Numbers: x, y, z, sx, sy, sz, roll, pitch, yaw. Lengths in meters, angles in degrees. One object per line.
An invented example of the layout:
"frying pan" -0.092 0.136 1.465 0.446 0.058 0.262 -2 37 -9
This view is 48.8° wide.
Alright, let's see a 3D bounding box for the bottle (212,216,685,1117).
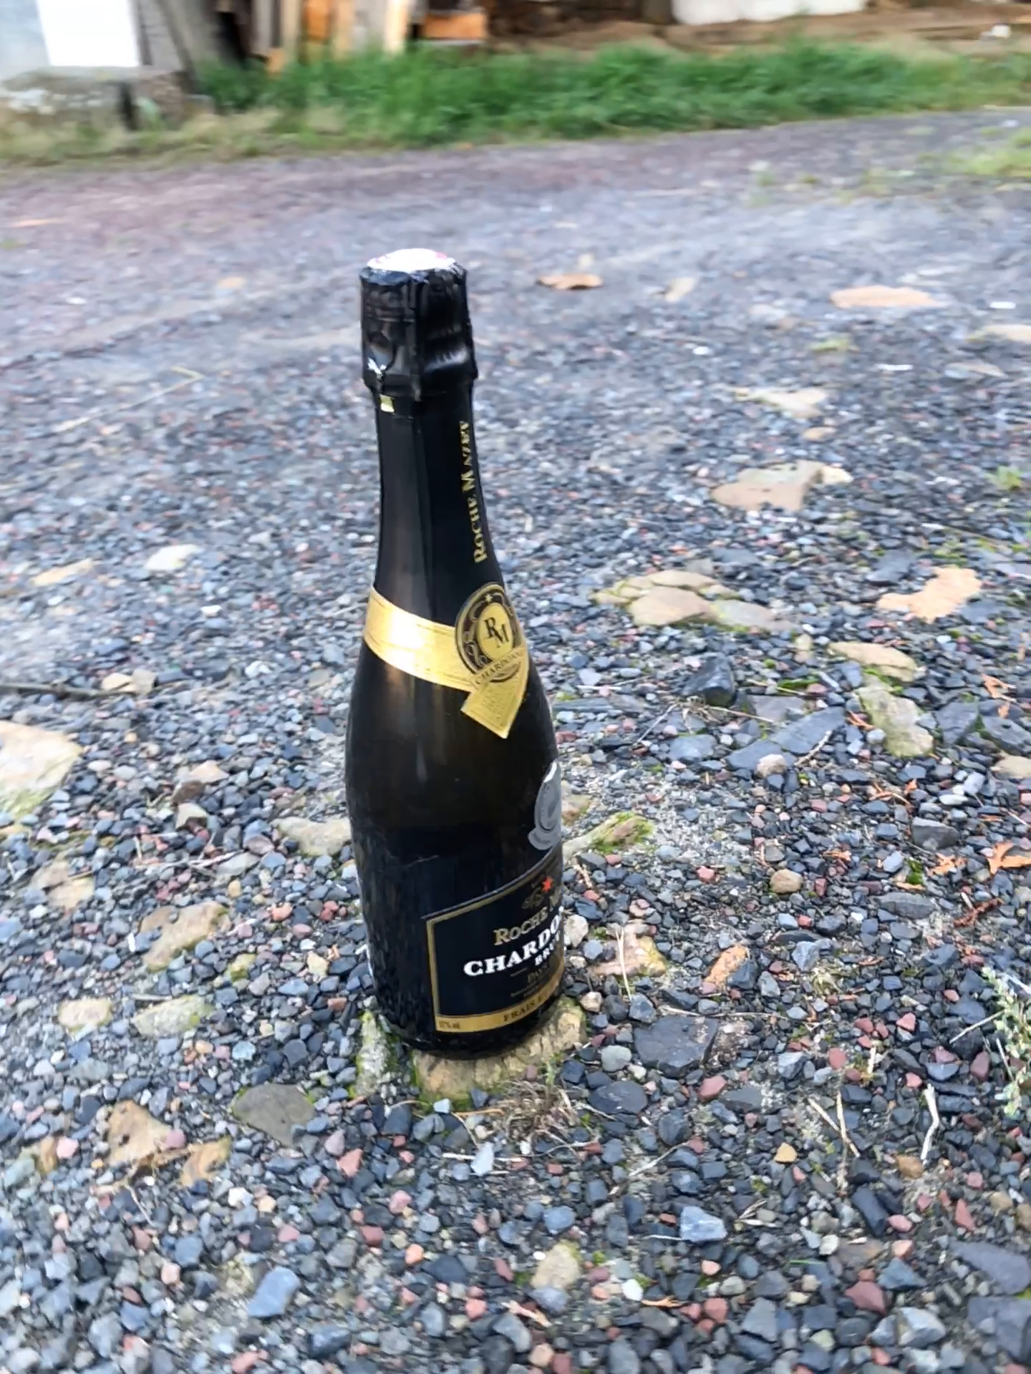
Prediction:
"bottle" -0.014 -0.001 0.415 0.100 0.298 0.101 -1 31 1
